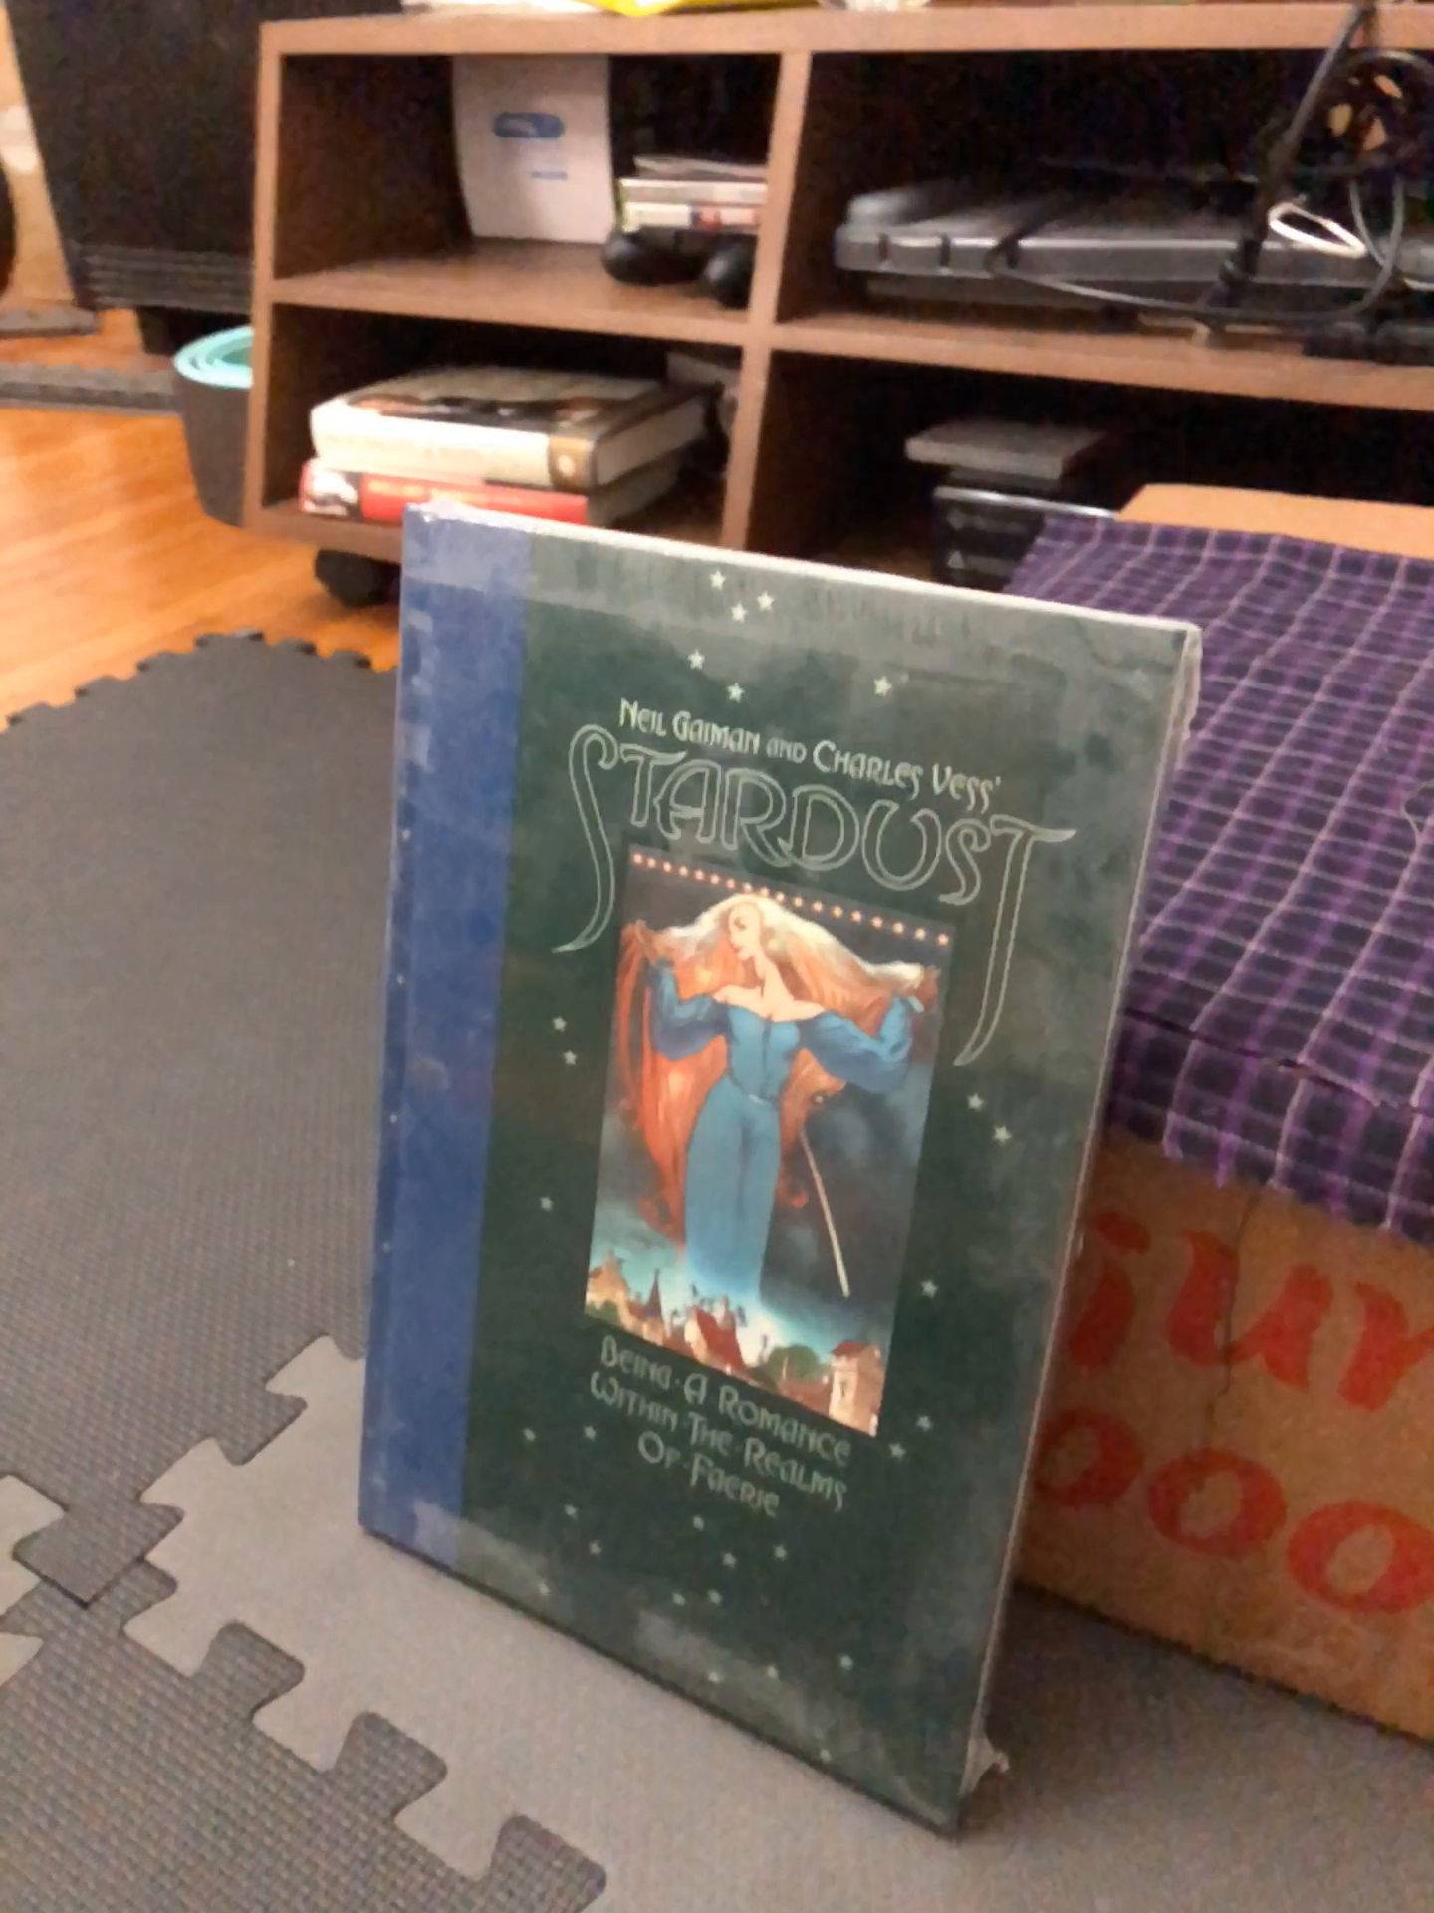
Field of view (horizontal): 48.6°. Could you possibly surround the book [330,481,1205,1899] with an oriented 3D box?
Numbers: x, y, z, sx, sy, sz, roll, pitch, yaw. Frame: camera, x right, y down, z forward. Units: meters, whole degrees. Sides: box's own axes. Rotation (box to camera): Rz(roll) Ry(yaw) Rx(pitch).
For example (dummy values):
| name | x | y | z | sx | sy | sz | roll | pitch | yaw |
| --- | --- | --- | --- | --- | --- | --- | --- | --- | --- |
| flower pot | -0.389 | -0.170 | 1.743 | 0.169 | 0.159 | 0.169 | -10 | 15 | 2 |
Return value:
| name | x | y | z | sx | sy | sz | roll | pitch | yaw |
| --- | --- | --- | --- | --- | --- | --- | --- | --- | --- |
| book | -0.011 | 0.057 | 0.414 | 0.210 | 0.329 | 0.020 | 15 | 19 | 27 |
